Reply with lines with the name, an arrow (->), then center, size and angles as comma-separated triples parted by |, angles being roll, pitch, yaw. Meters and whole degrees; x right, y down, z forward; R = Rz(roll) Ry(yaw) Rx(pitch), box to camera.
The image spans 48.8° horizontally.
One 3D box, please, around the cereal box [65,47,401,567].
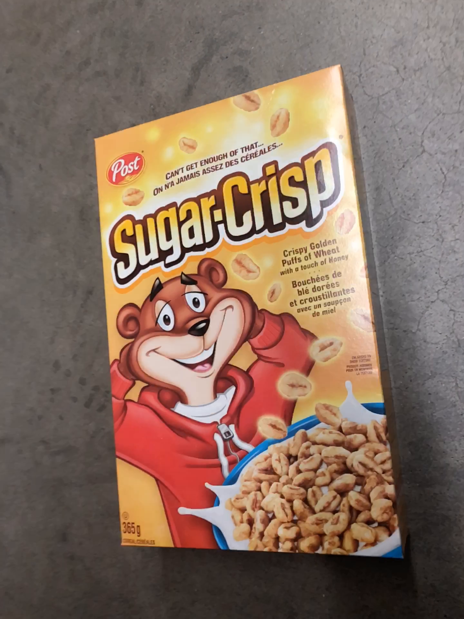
cereal box -> -0.009, 0.005, 0.359 | 0.200, 0.060, 0.300 | -8, 84, 23
